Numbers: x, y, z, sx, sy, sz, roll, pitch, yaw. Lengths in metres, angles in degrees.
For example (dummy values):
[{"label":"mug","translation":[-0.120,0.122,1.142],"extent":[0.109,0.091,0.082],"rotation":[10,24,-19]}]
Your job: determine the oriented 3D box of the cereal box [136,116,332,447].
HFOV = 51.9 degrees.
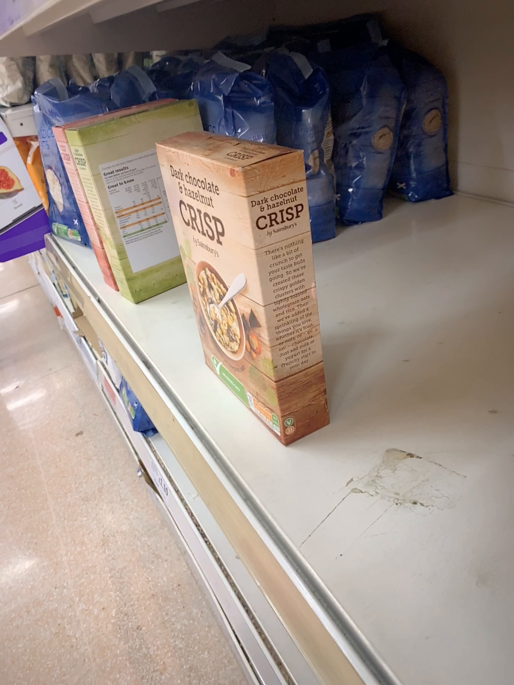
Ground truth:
[{"label":"cereal box","translation":[-0.022,-0.063,0.482],"extent":[0.060,0.248,0.192],"rotation":[-22,32,-21]}]
